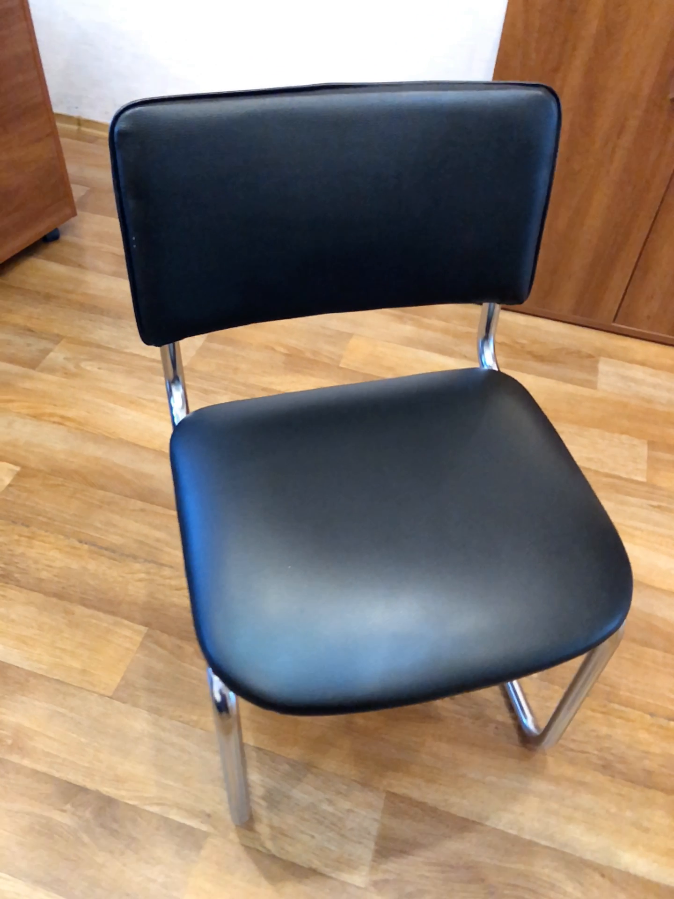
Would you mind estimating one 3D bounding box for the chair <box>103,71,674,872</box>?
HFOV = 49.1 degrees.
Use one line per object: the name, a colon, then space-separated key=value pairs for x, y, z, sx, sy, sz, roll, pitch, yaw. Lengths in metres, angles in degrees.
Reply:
chair: x=0.049 y=0.053 z=0.878 sx=0.492 sy=0.745 sz=0.527 roll=-8 pitch=48 yaw=-11
